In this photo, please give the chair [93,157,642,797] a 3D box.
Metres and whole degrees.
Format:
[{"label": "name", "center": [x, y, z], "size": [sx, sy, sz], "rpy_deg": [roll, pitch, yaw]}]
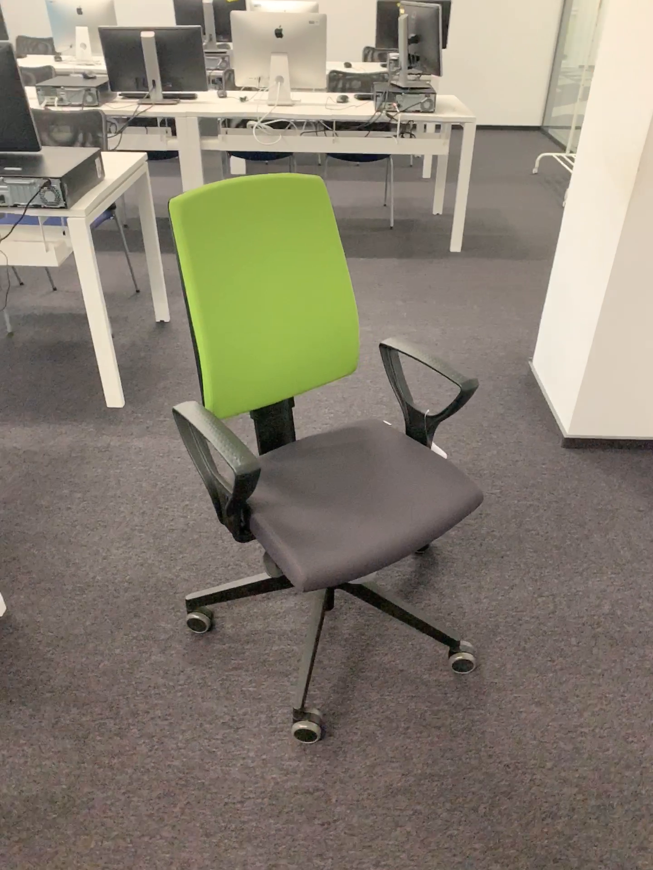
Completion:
[{"label": "chair", "center": [0.050, 0.046, 1.489], "size": [0.722, 1.054, 0.672], "rpy_deg": [-22, 41, -30]}]
